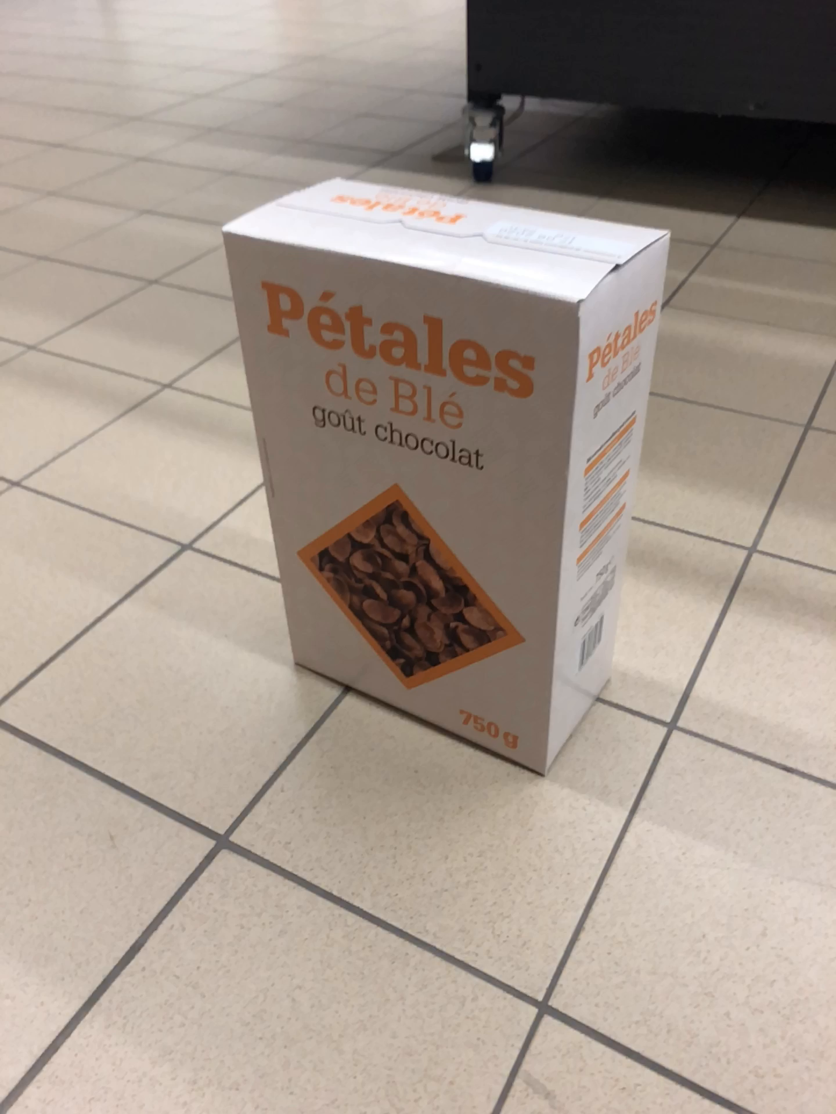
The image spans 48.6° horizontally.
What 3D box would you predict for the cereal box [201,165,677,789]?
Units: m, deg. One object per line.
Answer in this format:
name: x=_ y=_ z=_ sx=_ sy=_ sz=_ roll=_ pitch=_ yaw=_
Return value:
cereal box: x=0.013 y=-0.039 z=0.505 sx=0.190 sy=0.288 sz=0.101 roll=19 pitch=42 yaw=25
